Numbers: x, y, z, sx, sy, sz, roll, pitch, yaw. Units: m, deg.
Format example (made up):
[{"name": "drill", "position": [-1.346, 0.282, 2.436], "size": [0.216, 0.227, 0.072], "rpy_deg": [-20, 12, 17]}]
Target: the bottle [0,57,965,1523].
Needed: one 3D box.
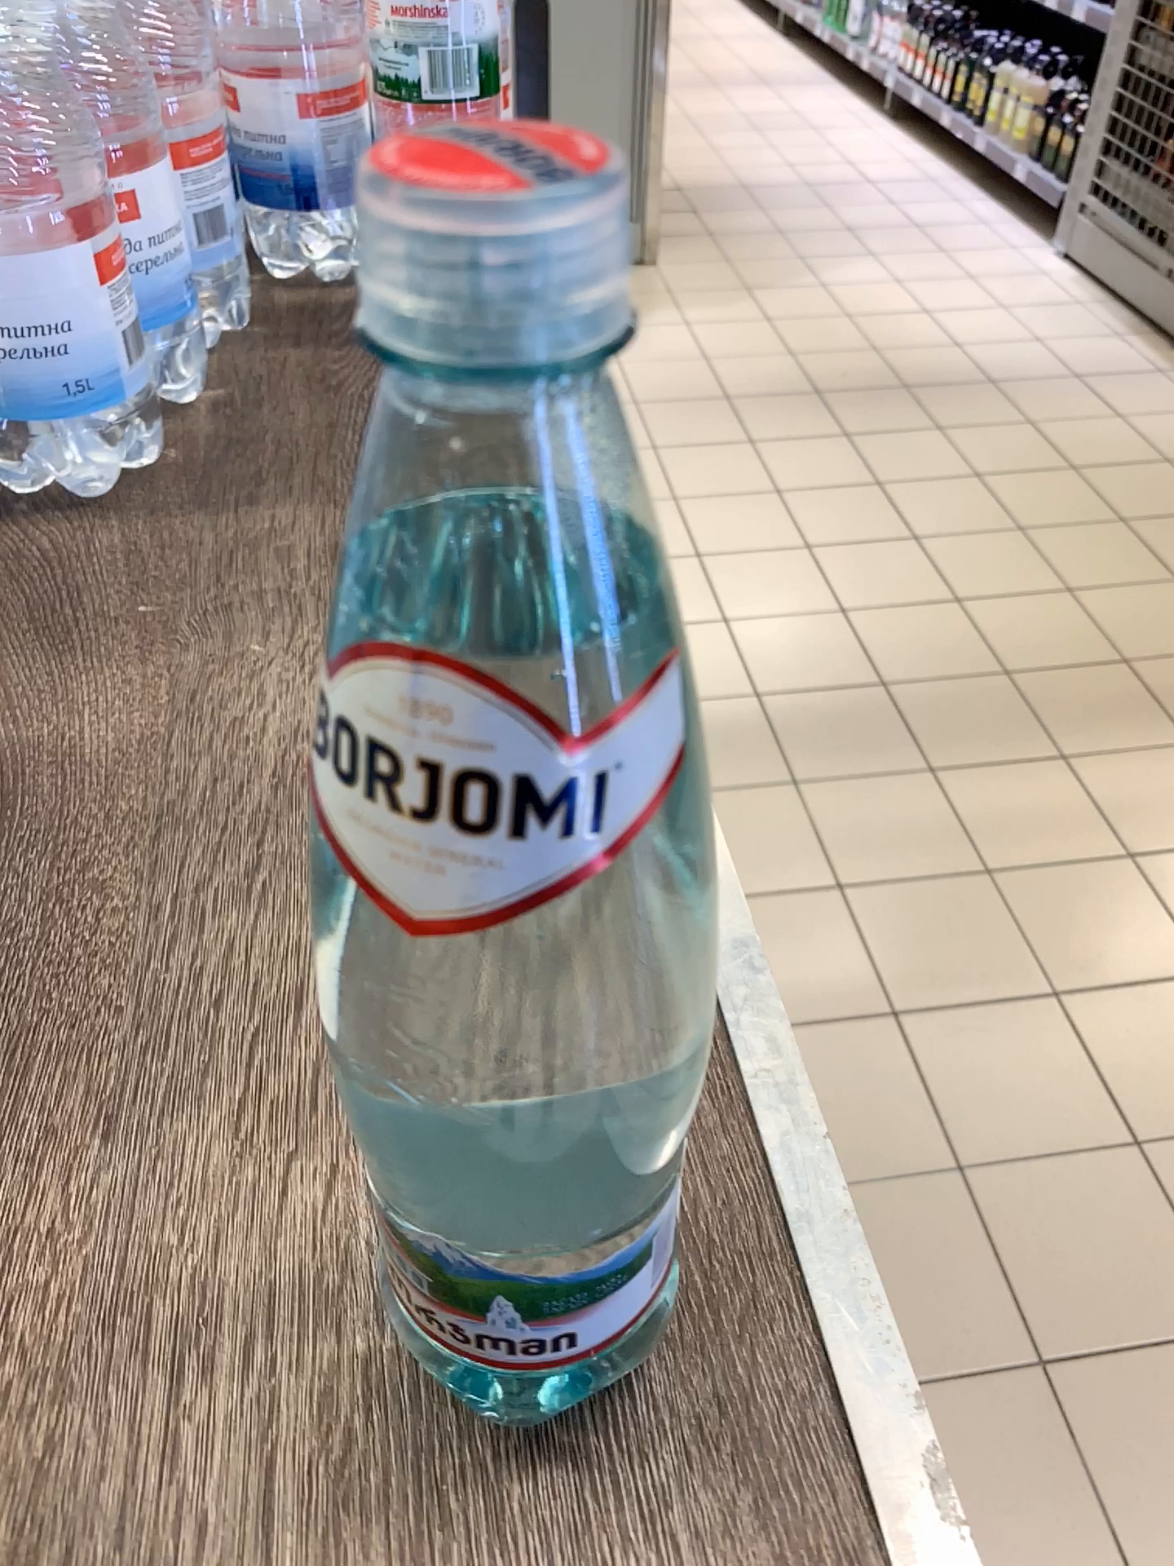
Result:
[{"name": "bottle", "position": [-0.014, 0.027, 0.202], "size": [0.080, 0.239, 0.070], "rpy_deg": [22, 46, 22]}]
